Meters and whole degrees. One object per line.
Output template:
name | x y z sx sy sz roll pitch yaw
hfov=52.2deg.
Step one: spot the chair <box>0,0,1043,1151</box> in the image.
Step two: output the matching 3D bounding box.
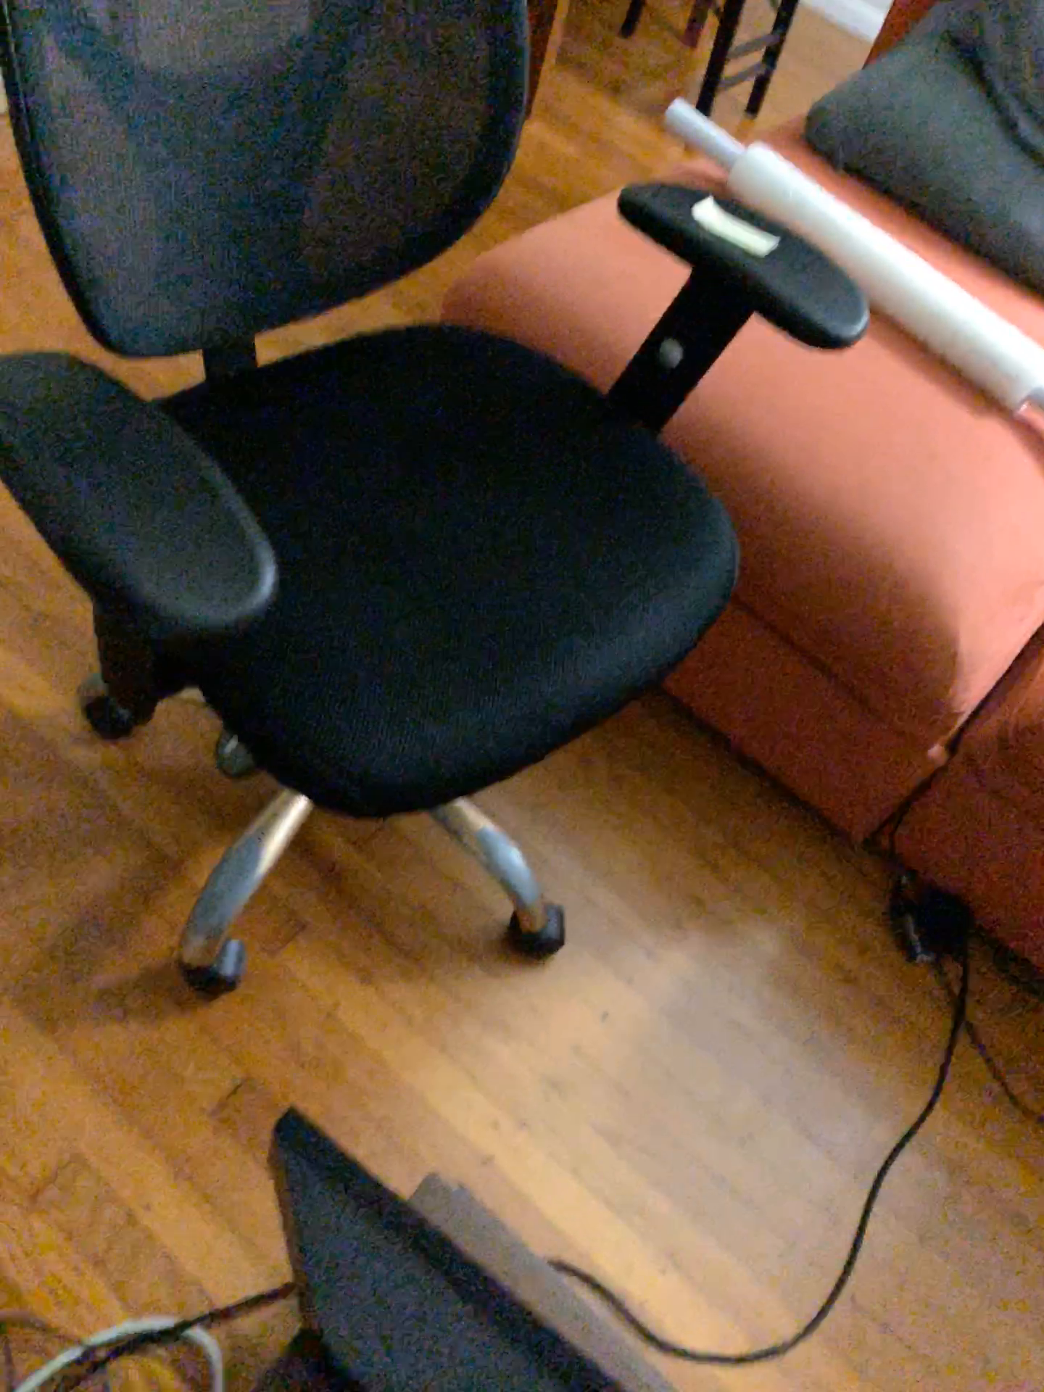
chair | -0.091 -0.242 0.922 0.642 0.976 0.661 -30 62 -33
